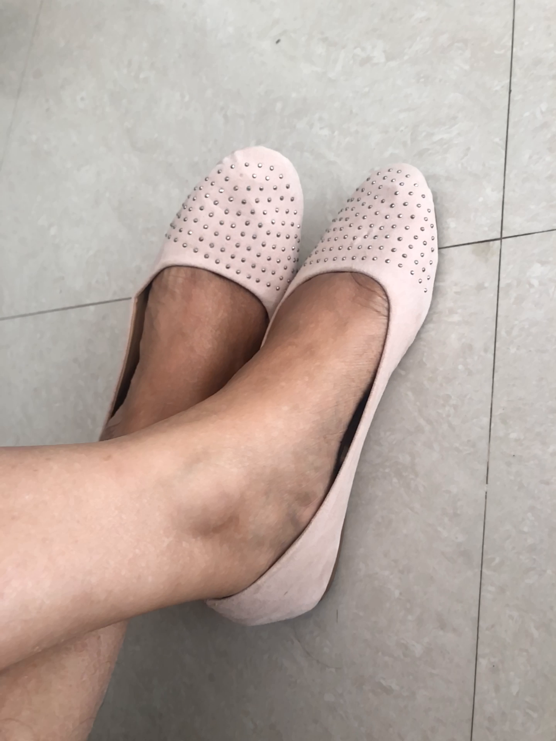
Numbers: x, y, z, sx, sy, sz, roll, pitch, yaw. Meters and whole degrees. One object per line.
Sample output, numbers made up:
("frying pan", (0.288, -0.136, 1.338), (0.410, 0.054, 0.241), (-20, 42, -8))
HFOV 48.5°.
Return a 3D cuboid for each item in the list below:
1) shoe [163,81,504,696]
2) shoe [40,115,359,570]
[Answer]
("shoe", (0.035, 0.004, 0.325), (0.101, 0.080, 0.270), (5, 78, 40))
("shoe", (-0.049, -0.013, 0.374), (0.060, 0.090, 0.240), (-127, 60, -78))
